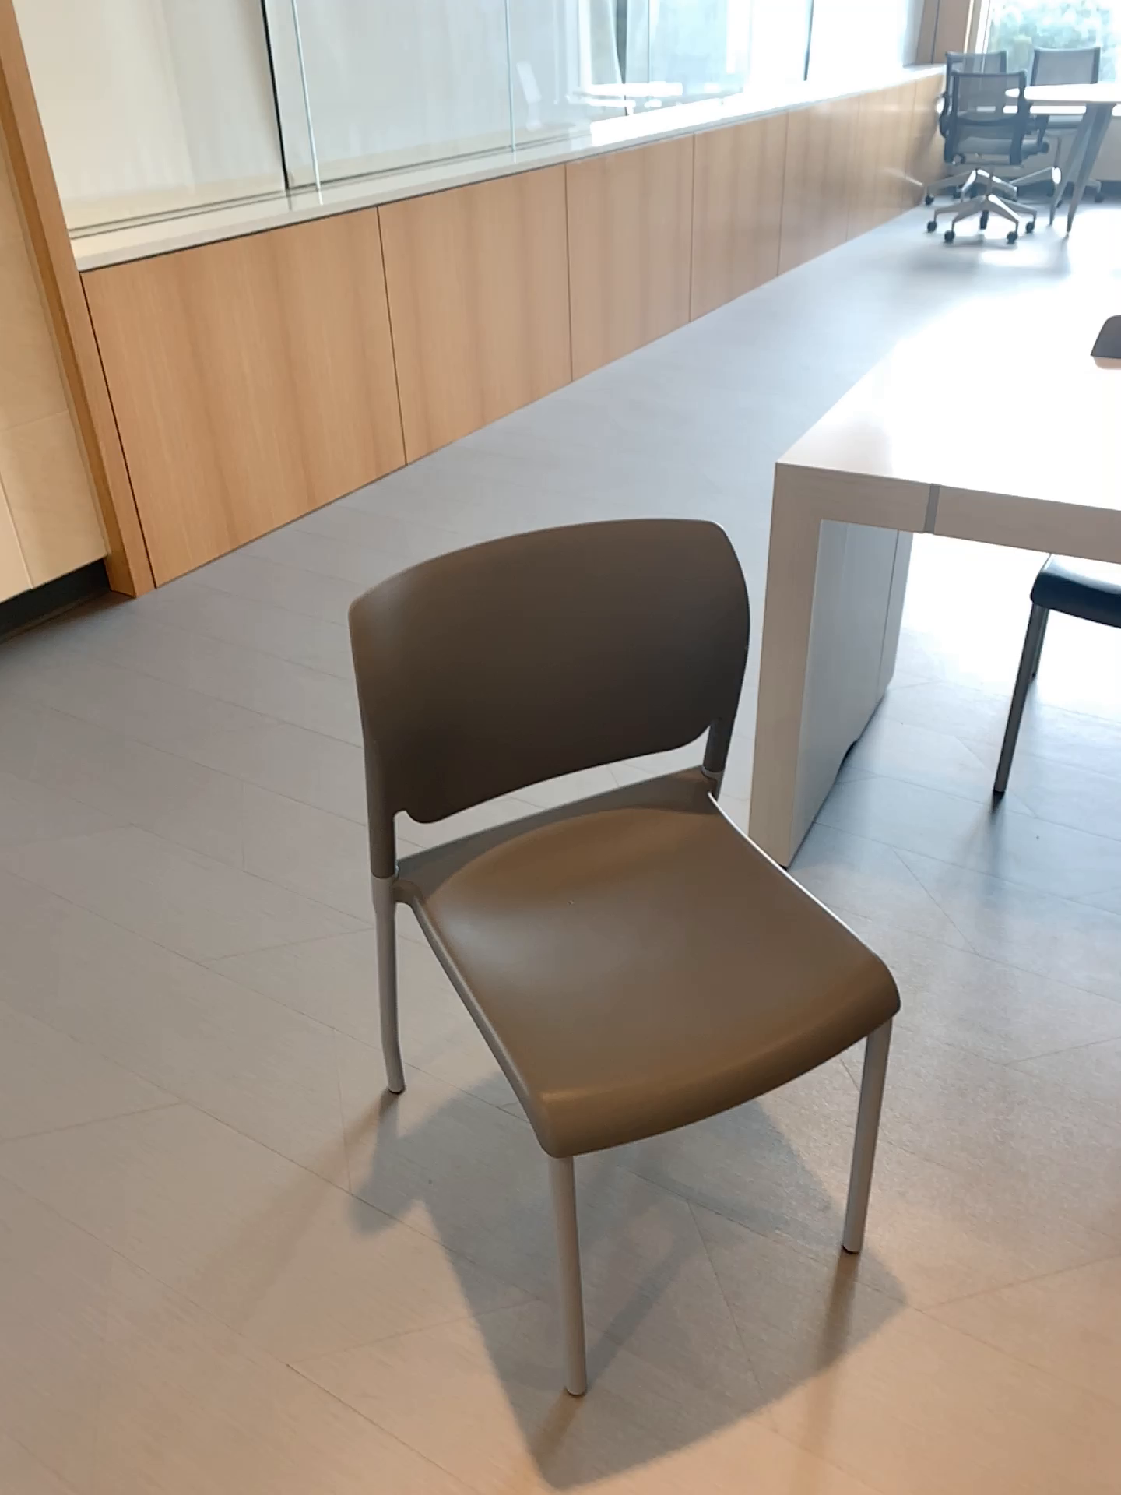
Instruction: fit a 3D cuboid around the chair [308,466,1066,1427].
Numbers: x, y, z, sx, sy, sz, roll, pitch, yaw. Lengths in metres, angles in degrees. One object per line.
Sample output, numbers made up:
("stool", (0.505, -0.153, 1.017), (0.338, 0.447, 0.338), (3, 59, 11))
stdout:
("chair", (0.094, 0.185, 1.317), (0.501, 0.783, 0.574), (-17, 35, -22))
